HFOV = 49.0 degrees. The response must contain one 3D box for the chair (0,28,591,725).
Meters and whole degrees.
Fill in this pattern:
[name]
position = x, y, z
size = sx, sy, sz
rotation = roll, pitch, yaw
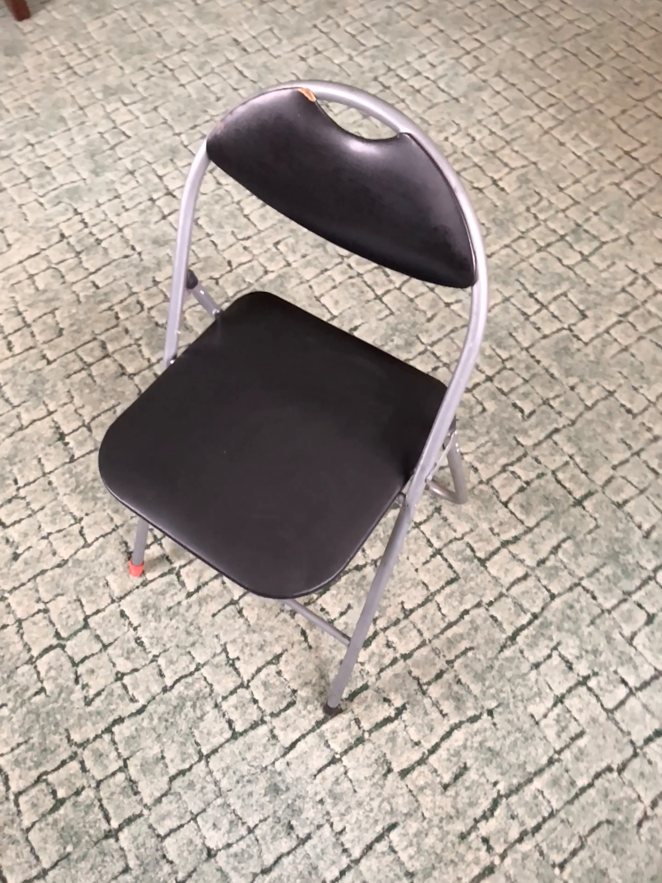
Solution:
[chair]
position = -0.060, -0.019, 0.998
size = 0.457, 0.733, 0.476
rotation = 30, 65, 18
